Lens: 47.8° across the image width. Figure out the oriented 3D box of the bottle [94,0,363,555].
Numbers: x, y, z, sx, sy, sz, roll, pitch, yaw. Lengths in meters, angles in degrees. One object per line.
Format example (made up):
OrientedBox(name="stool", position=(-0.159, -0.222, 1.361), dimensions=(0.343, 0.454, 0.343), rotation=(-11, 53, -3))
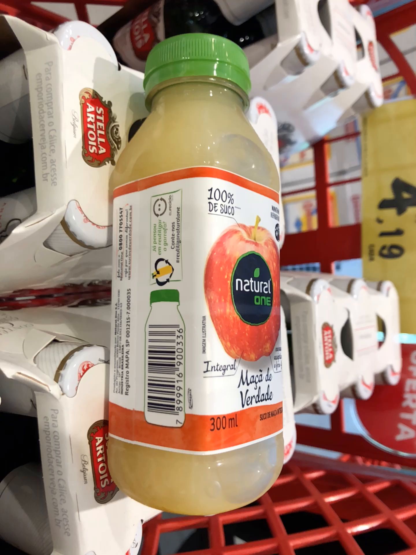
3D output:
OrientedBox(name="bottle", position=(0.005, -0.018, 0.164), dimensions=(0.060, 0.060, 0.180), rotation=(3, 82, -47))
